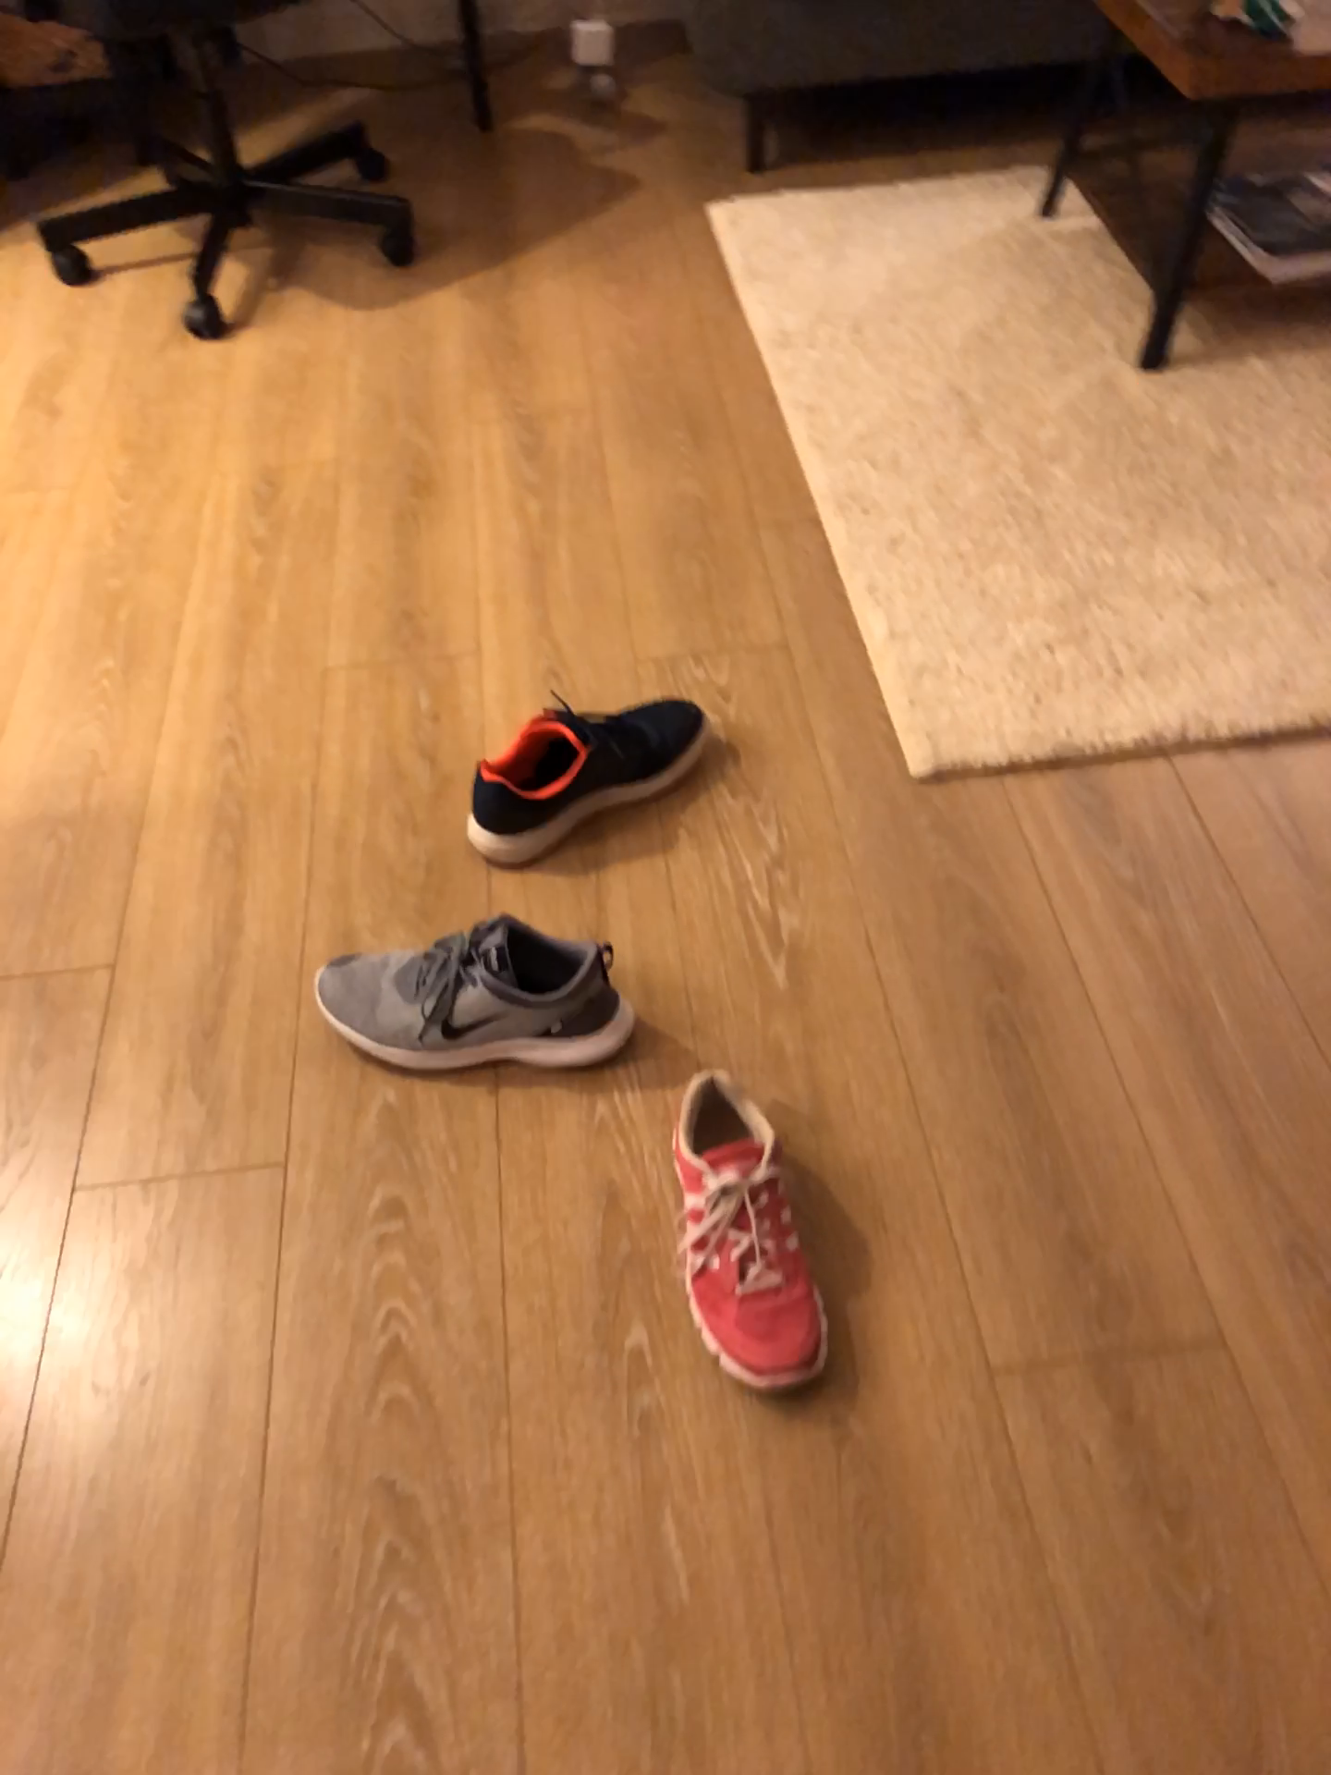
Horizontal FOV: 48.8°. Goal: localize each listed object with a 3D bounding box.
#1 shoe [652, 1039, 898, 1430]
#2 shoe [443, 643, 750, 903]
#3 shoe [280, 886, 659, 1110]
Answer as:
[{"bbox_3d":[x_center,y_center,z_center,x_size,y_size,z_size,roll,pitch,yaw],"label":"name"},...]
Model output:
[{"bbox_3d":[0.079,0.269,1.175,0.140,0.089,0.282,-8,47,-4],"label":"shoe"},{"bbox_3d":[-0.067,-0.127,1.551,0.301,0.099,0.130,-31,53,-24],"label":"shoe"},{"bbox_3d":[-0.170,0.098,1.329,0.306,0.109,0.131,6,47,8],"label":"shoe"}]
